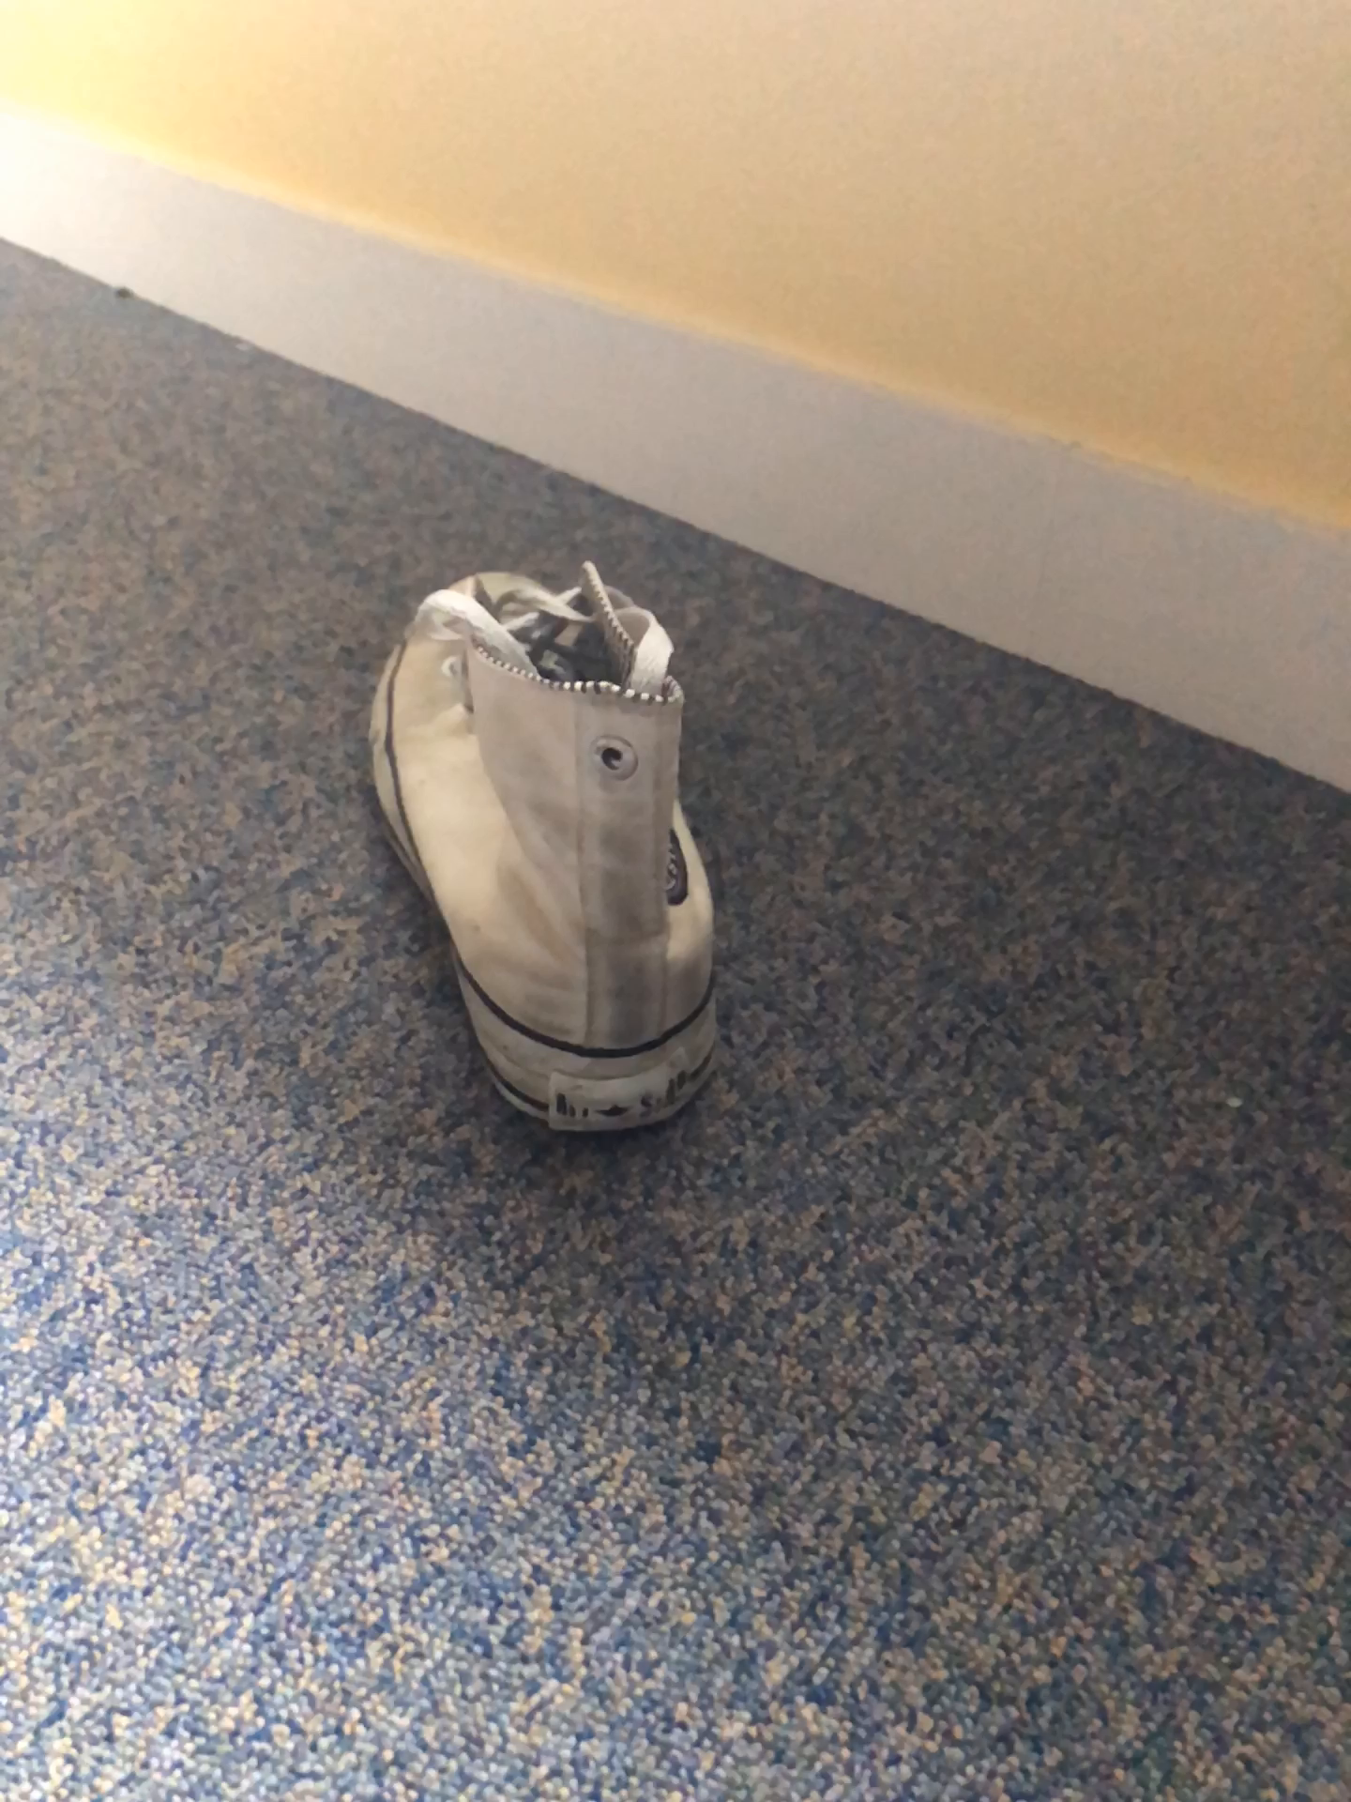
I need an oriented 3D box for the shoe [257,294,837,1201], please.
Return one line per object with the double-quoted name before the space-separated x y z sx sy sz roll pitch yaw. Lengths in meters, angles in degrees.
"shoe" -0.050 -0.064 0.434 0.100 0.139 0.251 -10 39 -13
